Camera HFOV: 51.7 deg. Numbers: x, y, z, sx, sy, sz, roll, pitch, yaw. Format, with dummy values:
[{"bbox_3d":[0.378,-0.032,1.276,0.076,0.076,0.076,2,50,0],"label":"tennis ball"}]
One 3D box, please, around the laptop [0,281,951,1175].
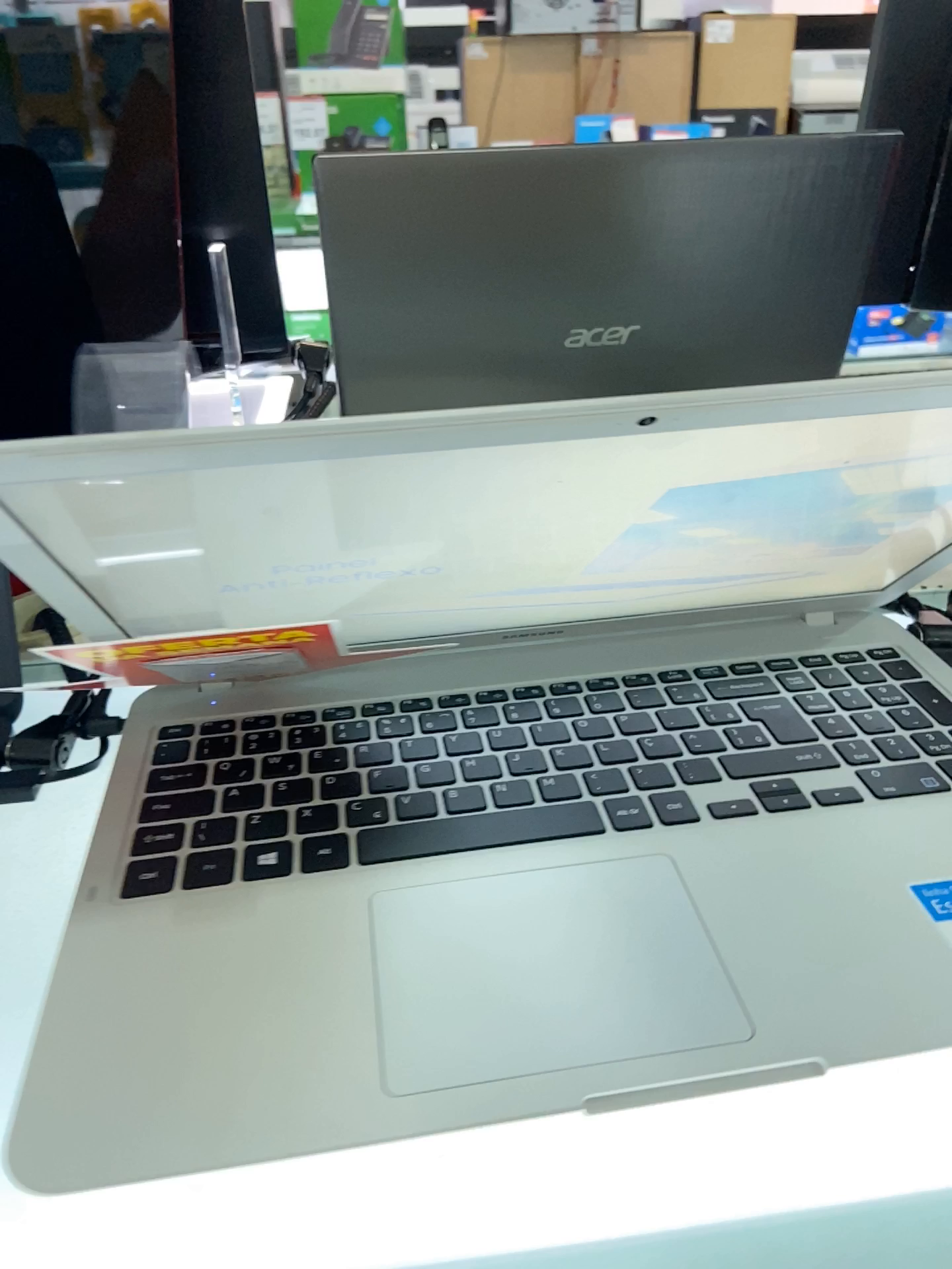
[{"bbox_3d":[0.043,-0.007,0.335,0.367,0.162,0.233,-6,29,-7],"label":"laptop"}]
